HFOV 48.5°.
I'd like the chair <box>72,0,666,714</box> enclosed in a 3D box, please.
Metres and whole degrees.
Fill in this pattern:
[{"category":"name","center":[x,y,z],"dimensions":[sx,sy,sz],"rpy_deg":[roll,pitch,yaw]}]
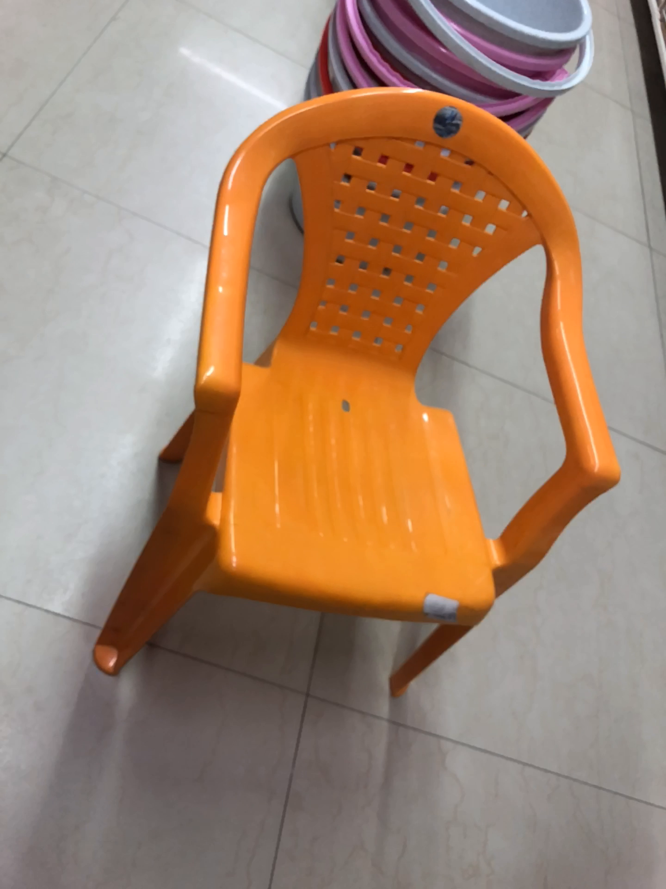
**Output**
[{"category":"chair","center":[0.019,-0.022,0.699],"dimensions":[0.390,0.467,0.402],"rpy_deg":[12,55,-19]}]
